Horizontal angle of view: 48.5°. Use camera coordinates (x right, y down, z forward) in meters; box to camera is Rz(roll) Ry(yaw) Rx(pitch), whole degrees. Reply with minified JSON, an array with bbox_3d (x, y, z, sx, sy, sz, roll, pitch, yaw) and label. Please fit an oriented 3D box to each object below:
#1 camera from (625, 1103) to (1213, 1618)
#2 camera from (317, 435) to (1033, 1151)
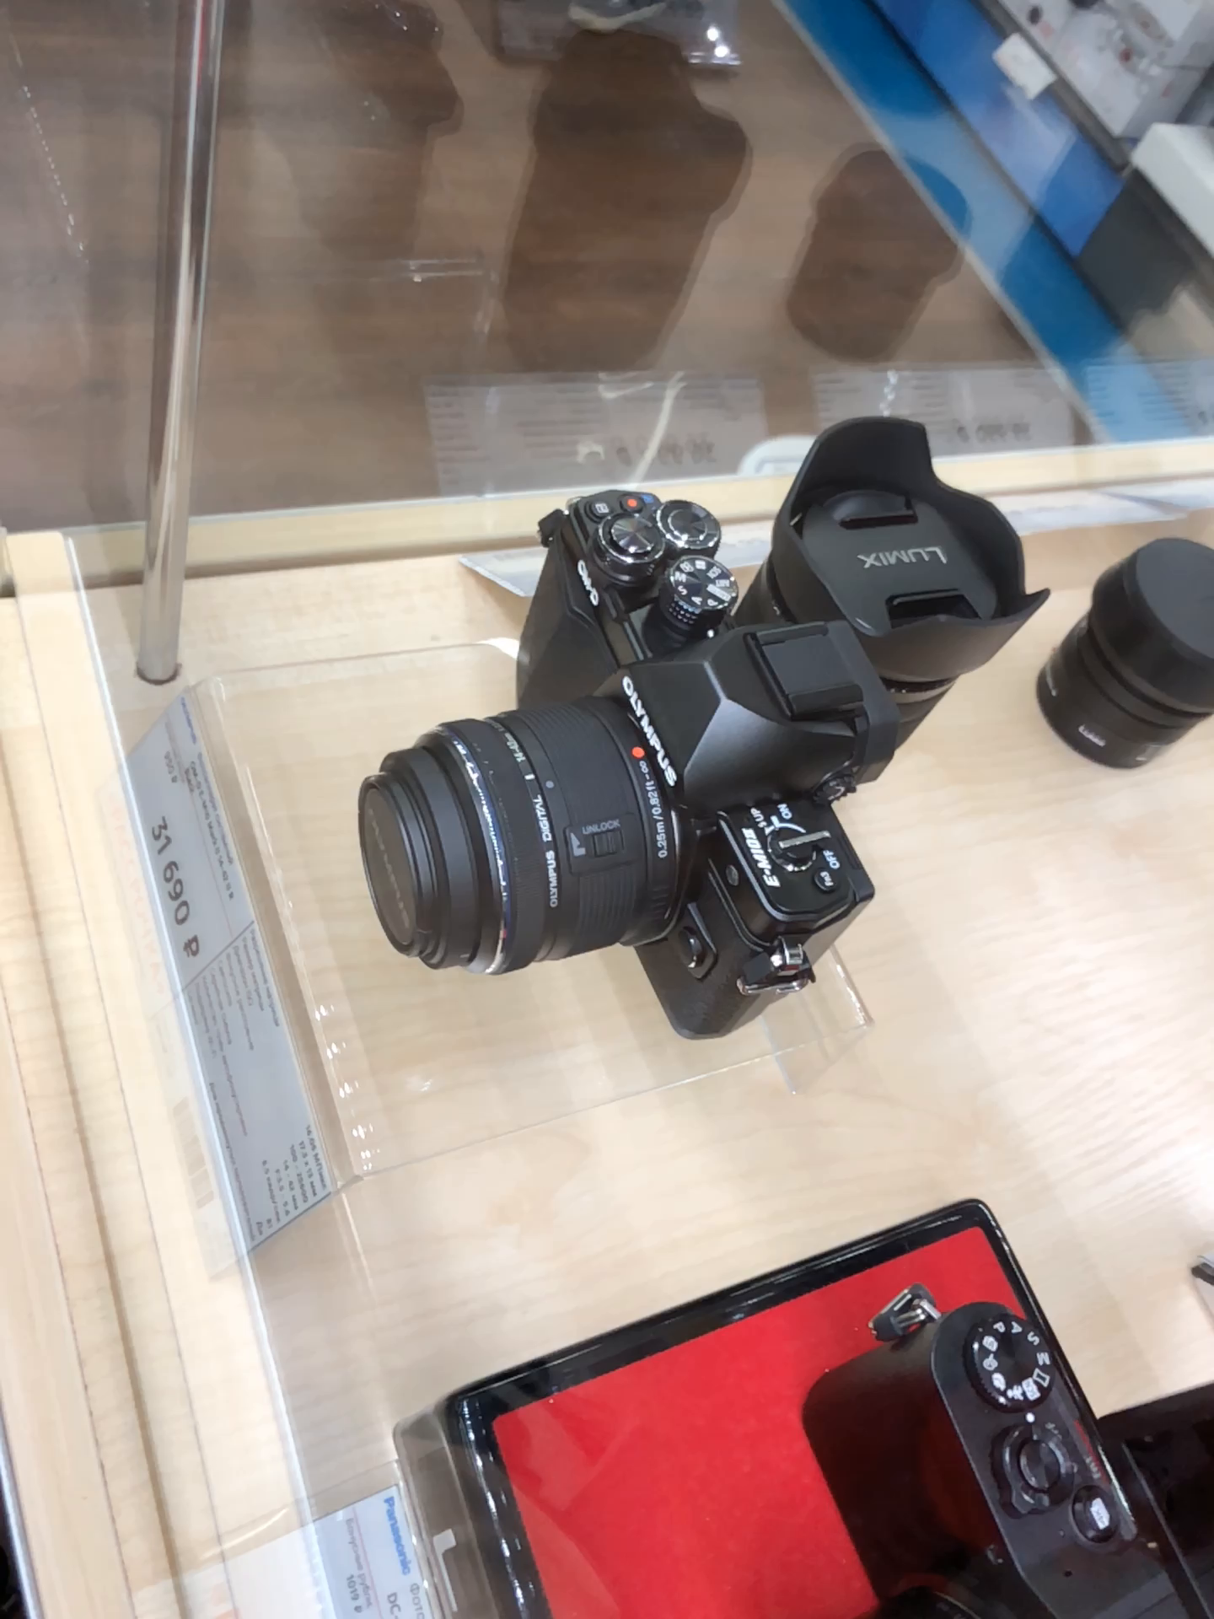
[{"bbox_3d":[0.073,0.129,0.208,0.072,0.110,0.118,-10,61,-26],"label":"camera"},{"bbox_3d":[0.005,-0.007,0.303,0.101,0.088,0.118,-10,61,-26],"label":"camera"}]
